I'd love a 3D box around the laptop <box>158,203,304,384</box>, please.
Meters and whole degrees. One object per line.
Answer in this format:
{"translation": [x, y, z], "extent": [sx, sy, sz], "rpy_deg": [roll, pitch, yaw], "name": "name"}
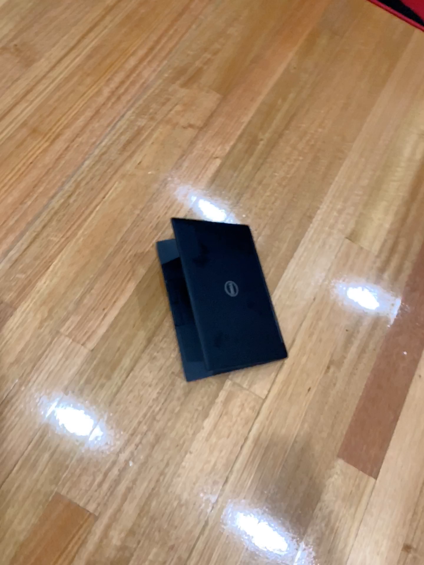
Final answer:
{"translation": [0.026, 0.017, 0.826], "extent": [0.206, 0.110, 0.296], "rpy_deg": [-10, 74, -14], "name": "laptop"}
